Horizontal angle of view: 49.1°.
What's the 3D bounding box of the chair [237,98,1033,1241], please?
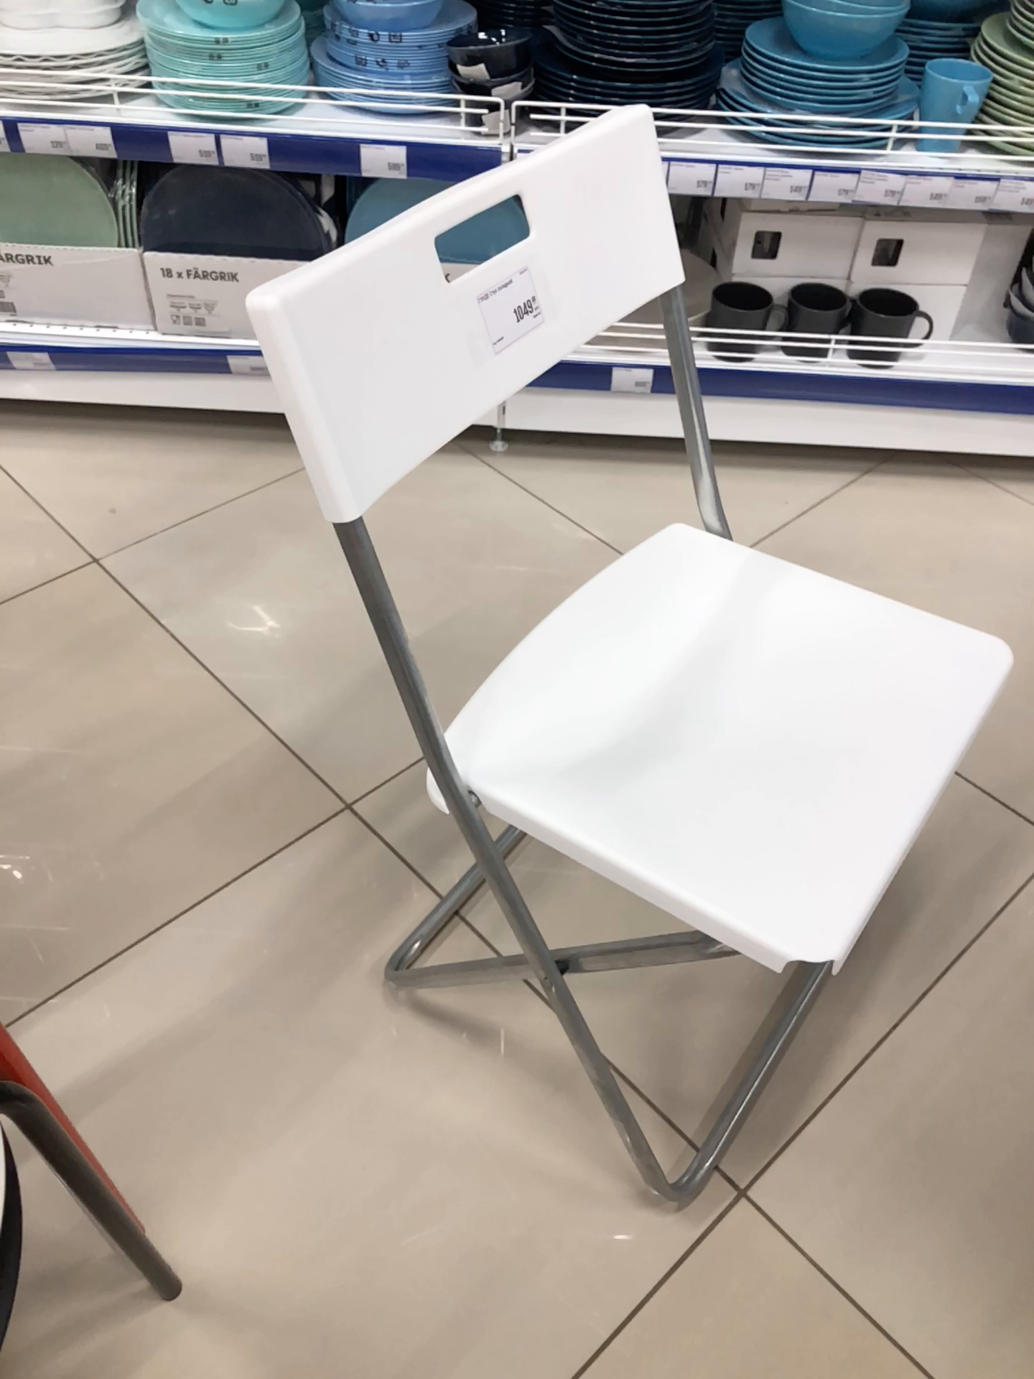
[{"bbox_3d":[0.130,0.003,0.922,0.431,0.710,0.428,28,50,23],"label":"chair"}]
